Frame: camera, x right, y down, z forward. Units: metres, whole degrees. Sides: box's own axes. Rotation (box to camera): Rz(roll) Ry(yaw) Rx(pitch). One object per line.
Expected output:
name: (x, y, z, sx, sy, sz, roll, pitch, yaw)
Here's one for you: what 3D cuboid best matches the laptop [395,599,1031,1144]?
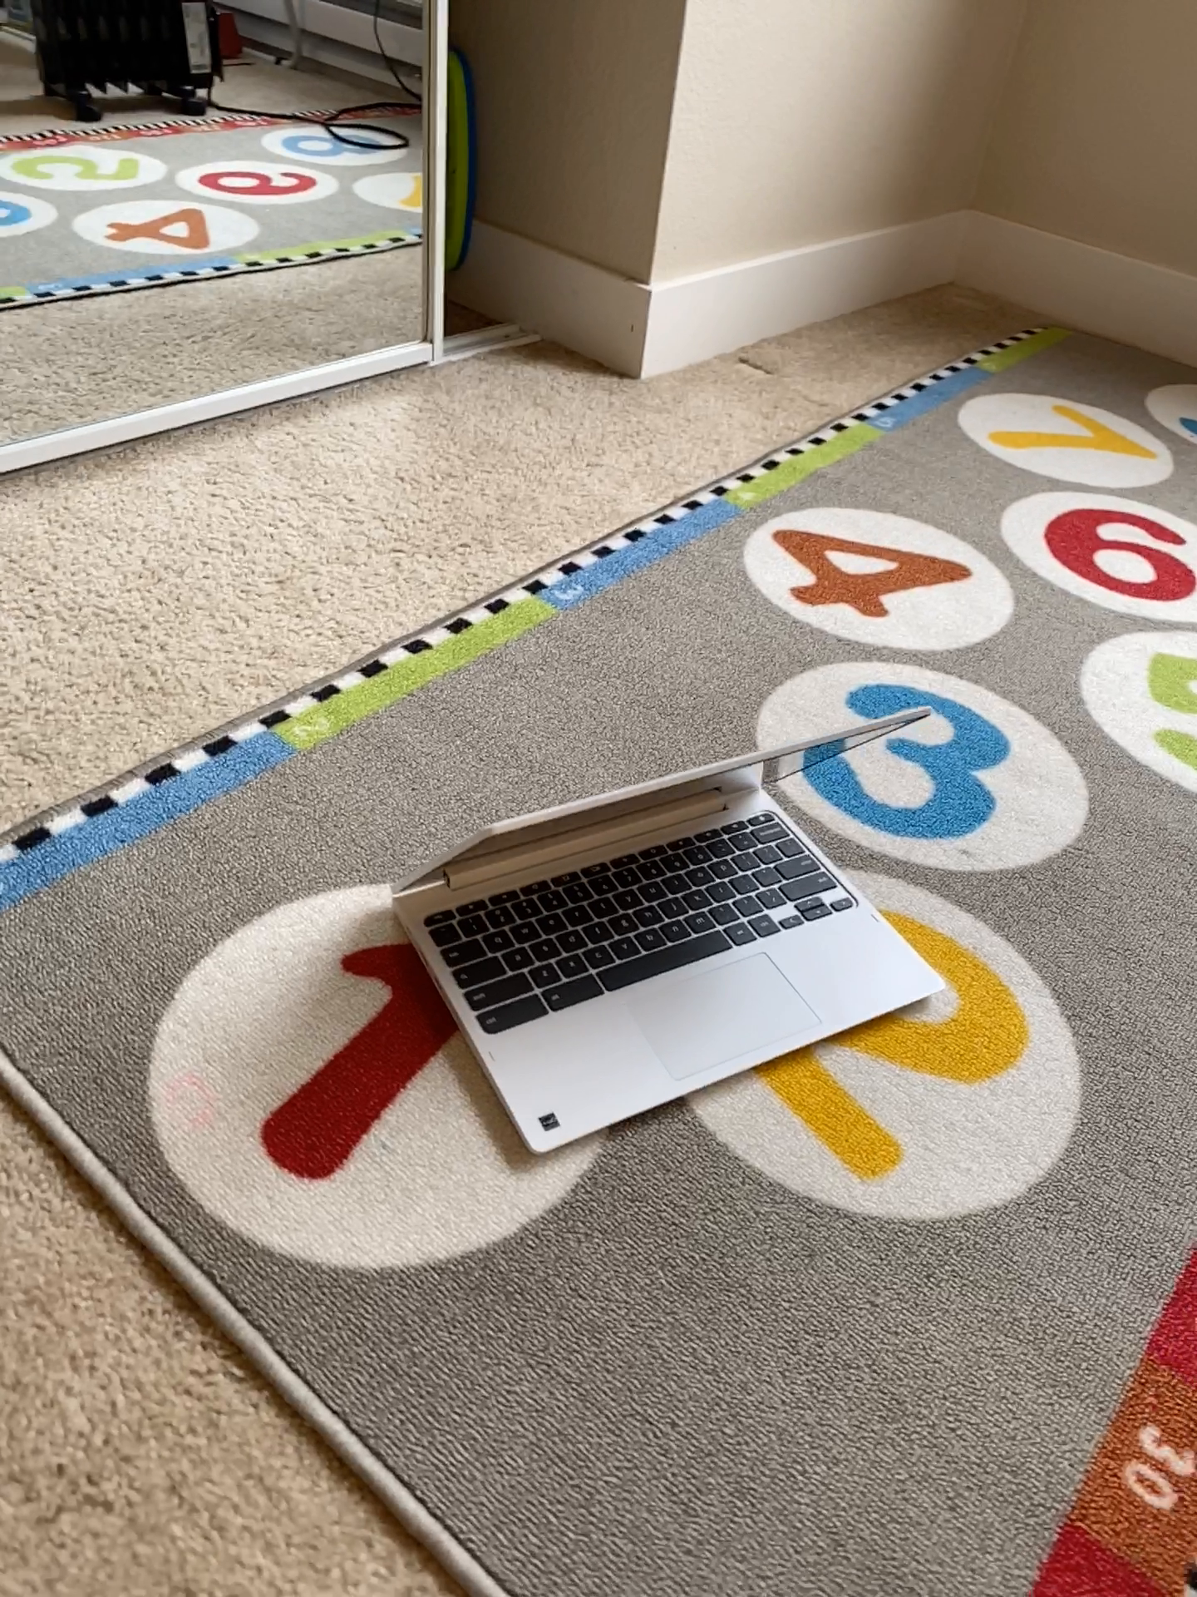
laptop: (0.055, 0.025, 0.740, 0.294, 0.164, 0.217, -15, 43, -26)
